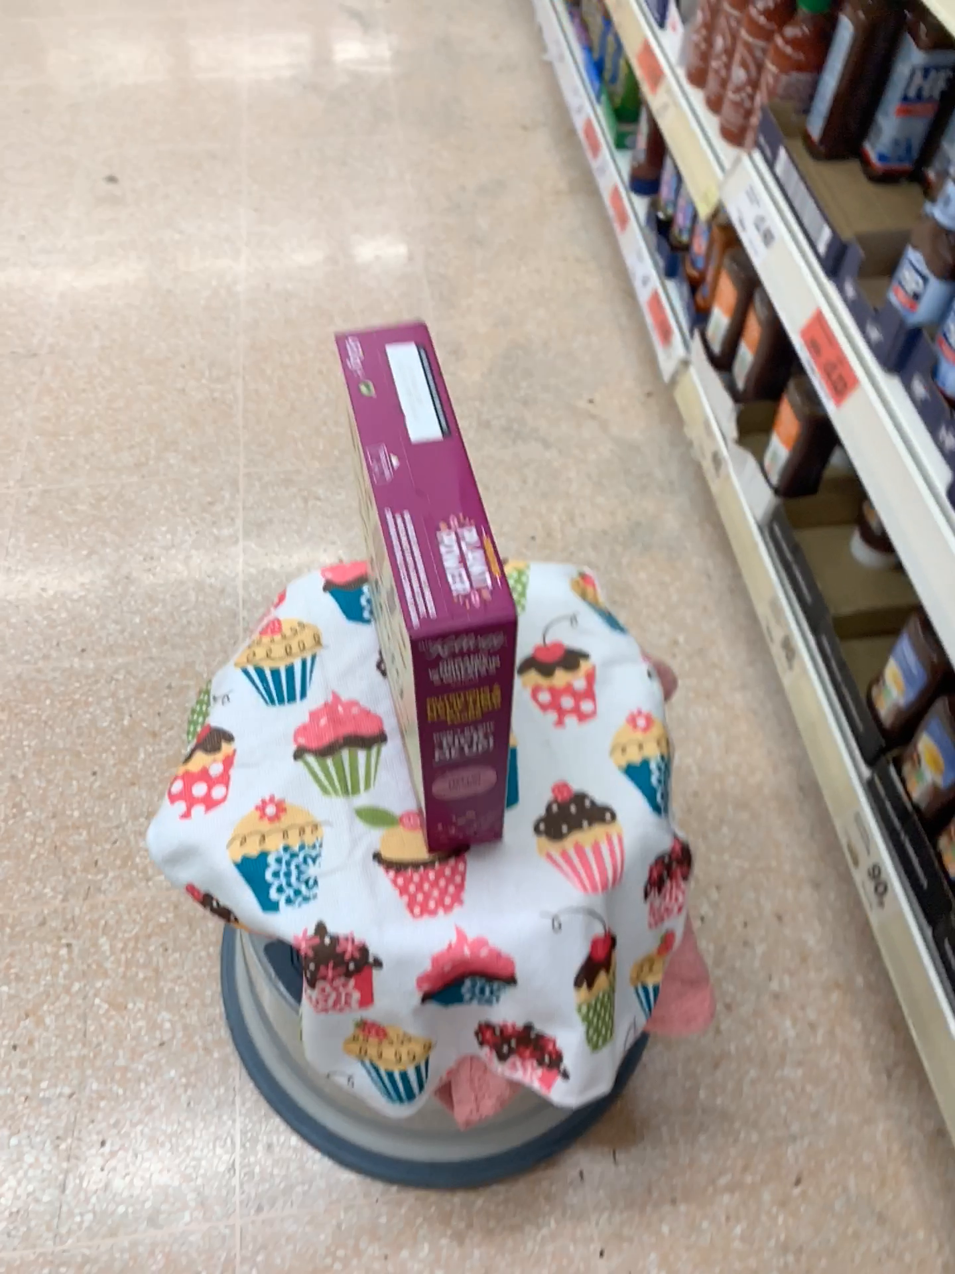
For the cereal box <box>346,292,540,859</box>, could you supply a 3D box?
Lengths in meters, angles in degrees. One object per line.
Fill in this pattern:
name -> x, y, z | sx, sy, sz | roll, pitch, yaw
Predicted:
cereal box -> -0.022, -0.023, 0.549 | 0.050, 0.248, 0.202 | -10, 55, -8
